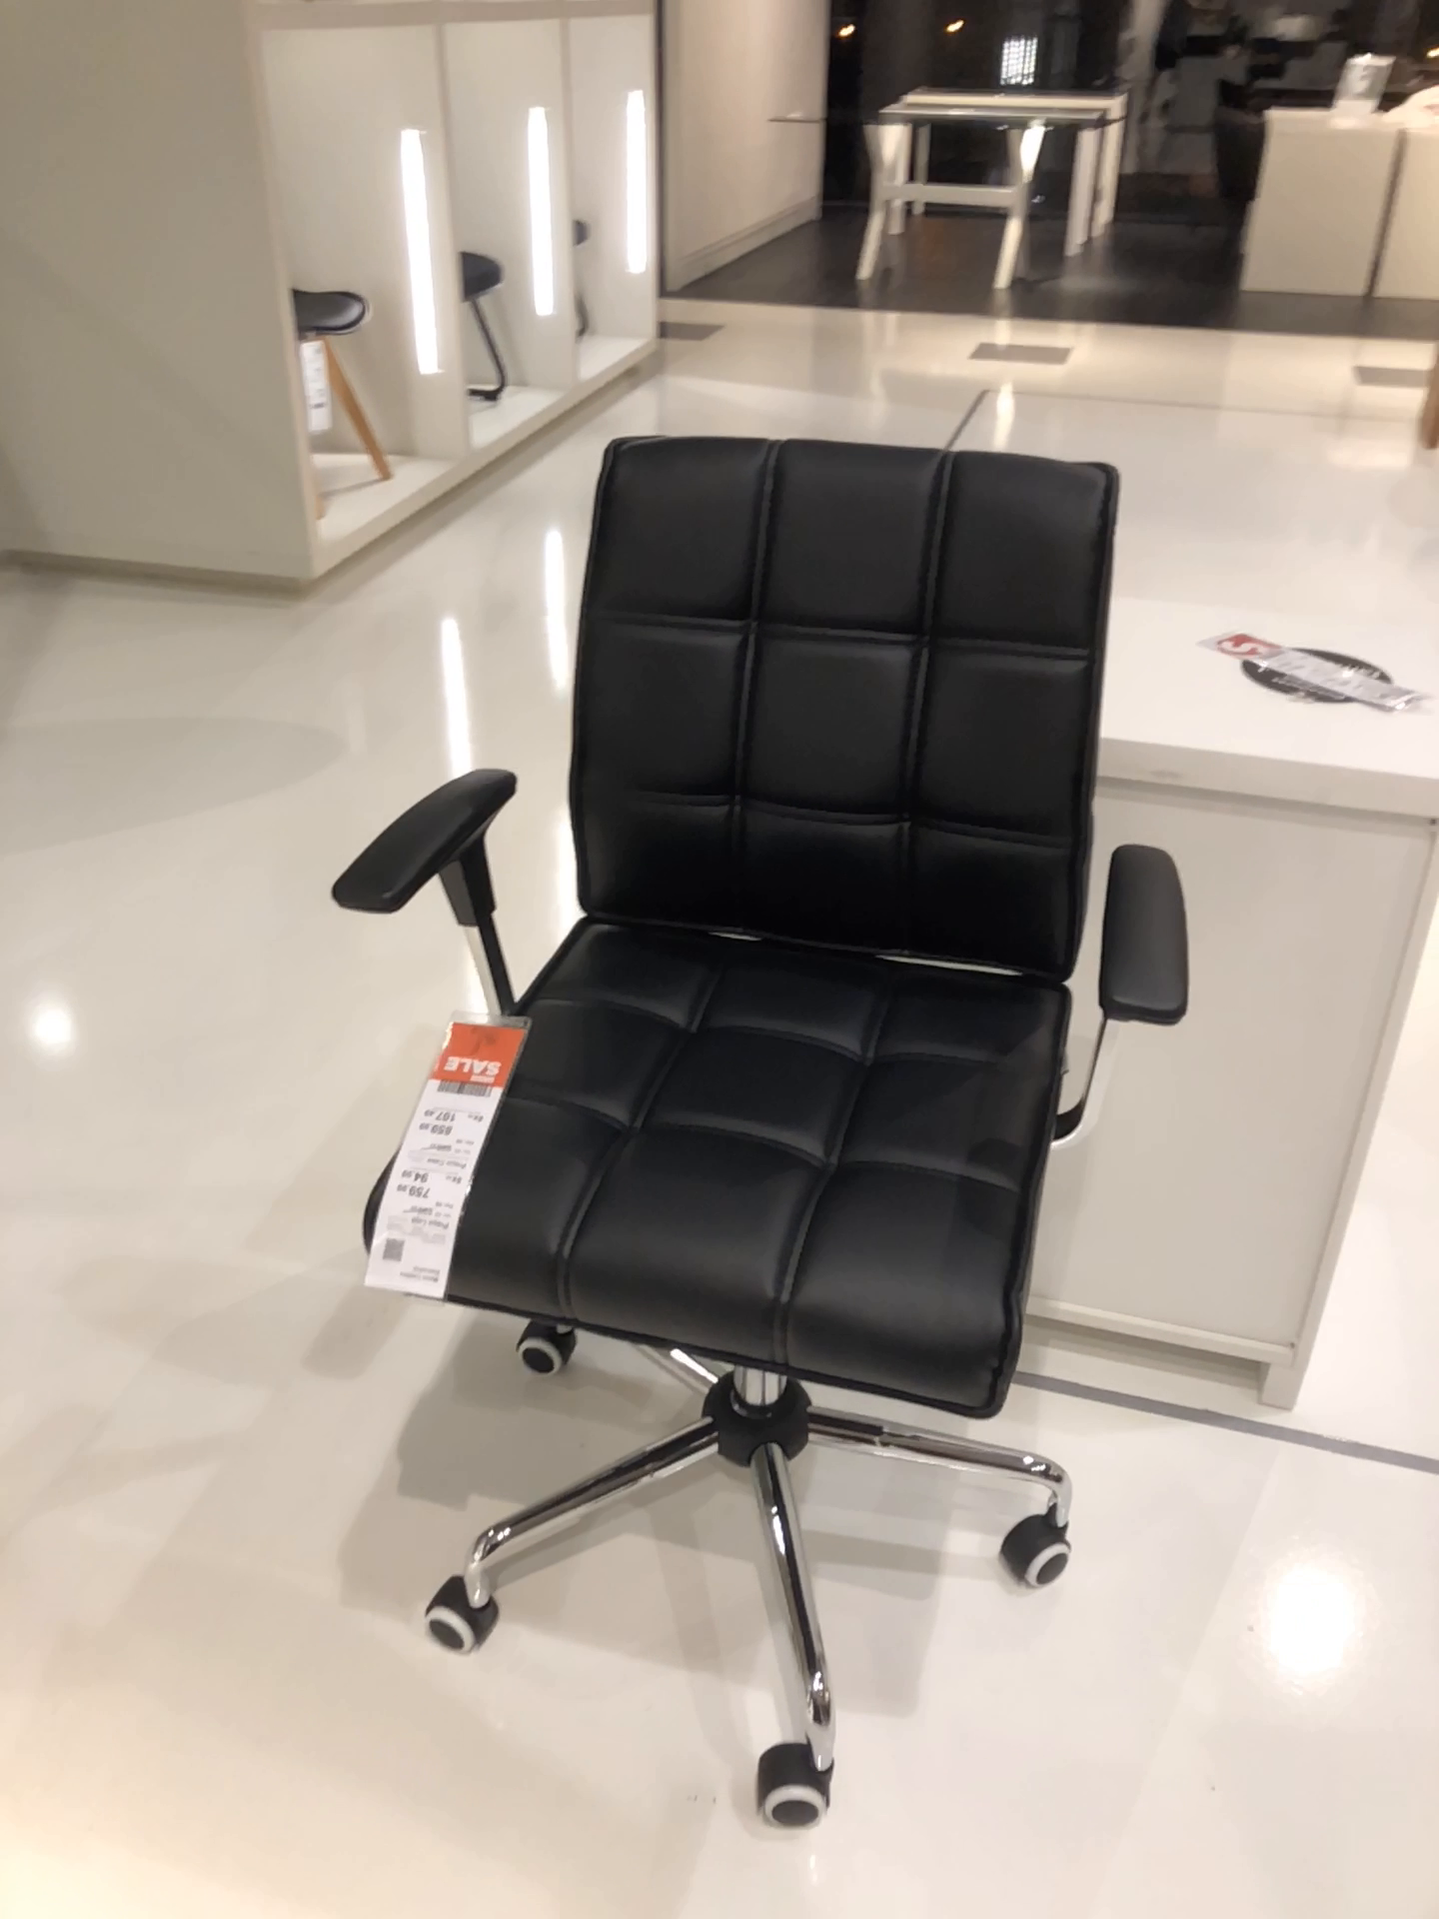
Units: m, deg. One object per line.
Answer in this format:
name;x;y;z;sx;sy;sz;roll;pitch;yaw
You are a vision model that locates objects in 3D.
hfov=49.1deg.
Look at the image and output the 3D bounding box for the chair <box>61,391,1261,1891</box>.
chair;0.026;0.089;1.334;0.620;0.913;0.745;7;32;11
